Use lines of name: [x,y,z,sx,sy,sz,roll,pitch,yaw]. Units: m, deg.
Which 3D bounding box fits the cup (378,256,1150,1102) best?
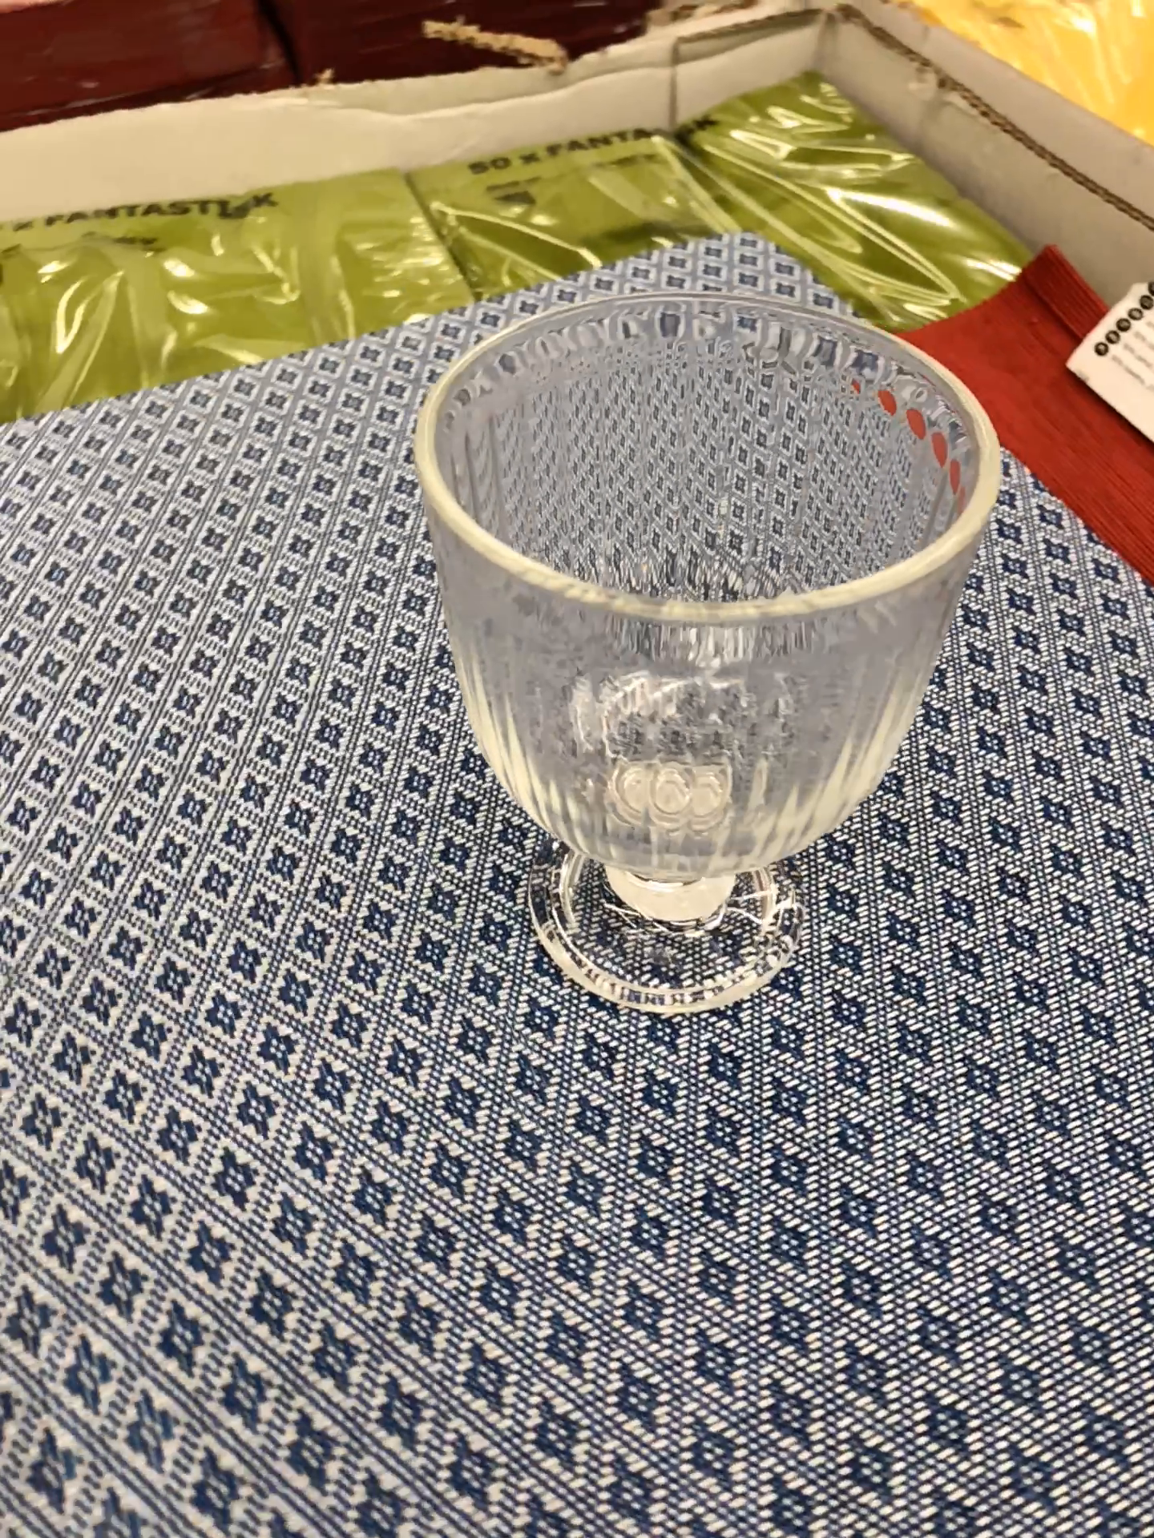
cup: [0.022,-0.017,0.243,0.100,0.110,0.100,-1,46,1]
